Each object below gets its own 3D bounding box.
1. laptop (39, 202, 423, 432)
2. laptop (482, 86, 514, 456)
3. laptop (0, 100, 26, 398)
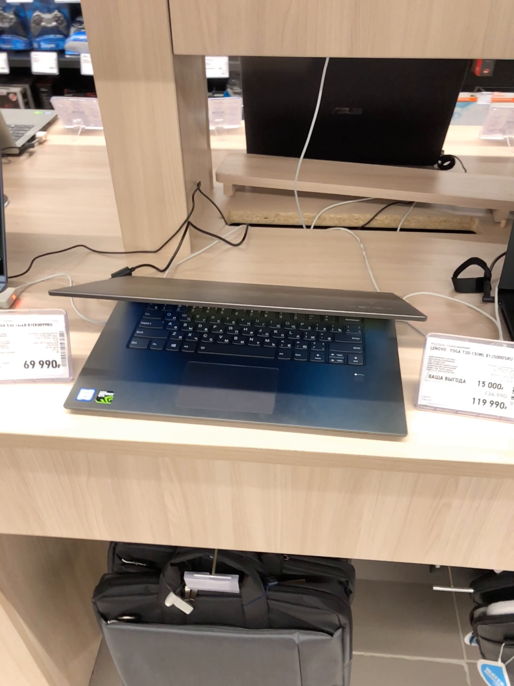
[{"bbox_3d":[-0.017,-0.045,0.658,0.362,0.118,0.244,4,39,5],"label":"laptop"},{"bbox_3d":[0.517,-0.096,0.609,0.402,0.240,0.305,2,40,4],"label":"laptop"},{"bbox_3d":[-0.543,-0.142,0.712,0.354,0.201,0.344,3,38,3],"label":"laptop"}]
